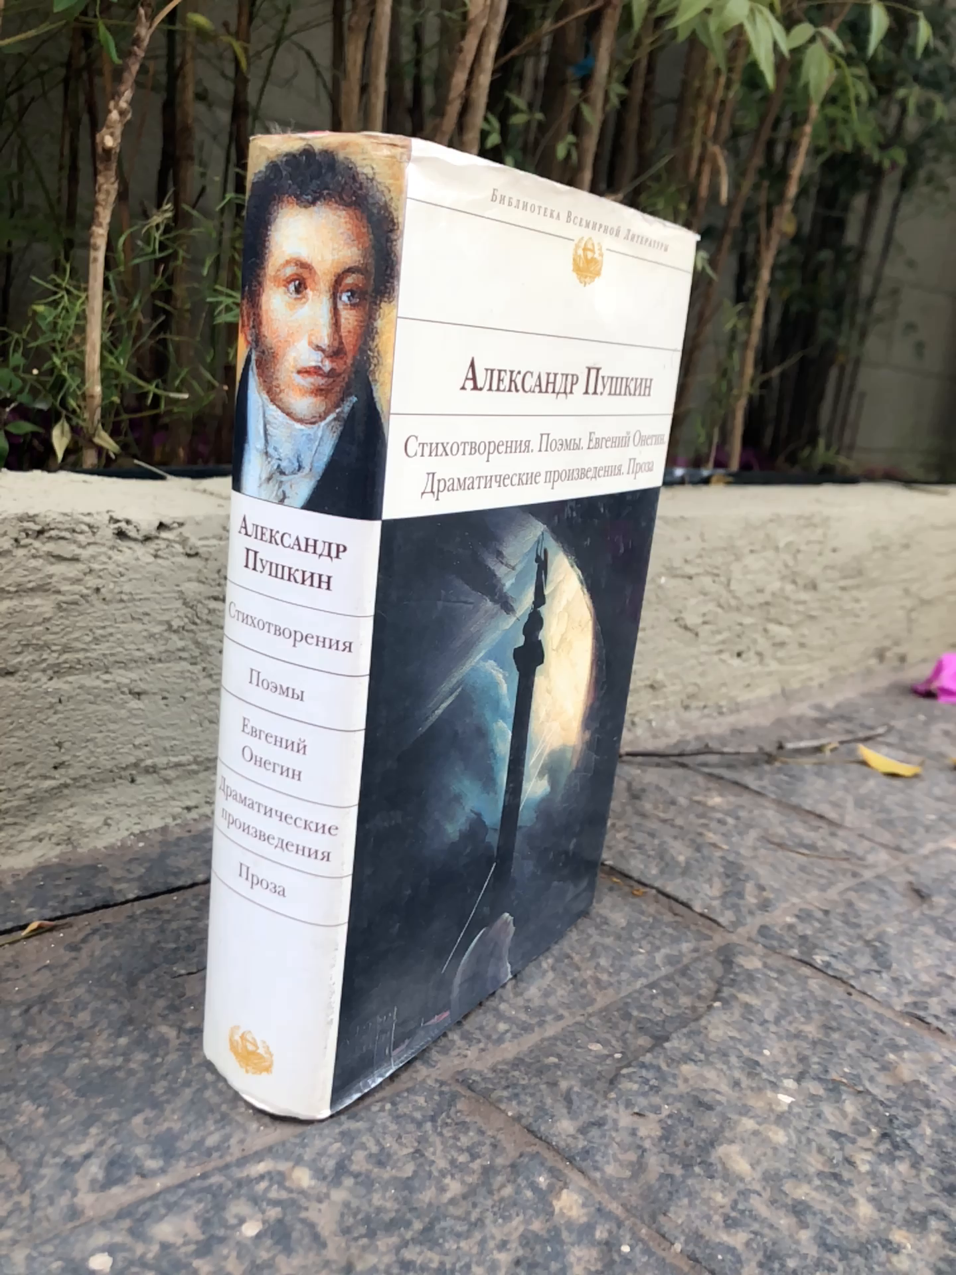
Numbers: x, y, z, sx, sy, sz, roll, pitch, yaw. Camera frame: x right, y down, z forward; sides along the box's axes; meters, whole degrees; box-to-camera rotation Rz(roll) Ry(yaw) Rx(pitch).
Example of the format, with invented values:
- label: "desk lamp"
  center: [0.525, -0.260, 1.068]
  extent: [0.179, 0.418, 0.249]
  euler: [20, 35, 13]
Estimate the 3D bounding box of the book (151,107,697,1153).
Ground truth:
- label: "book"
  center: [-0.007, -0.007, 0.278]
  extent: [0.050, 0.204, 0.151]
  euler: [12, 14, 30]
